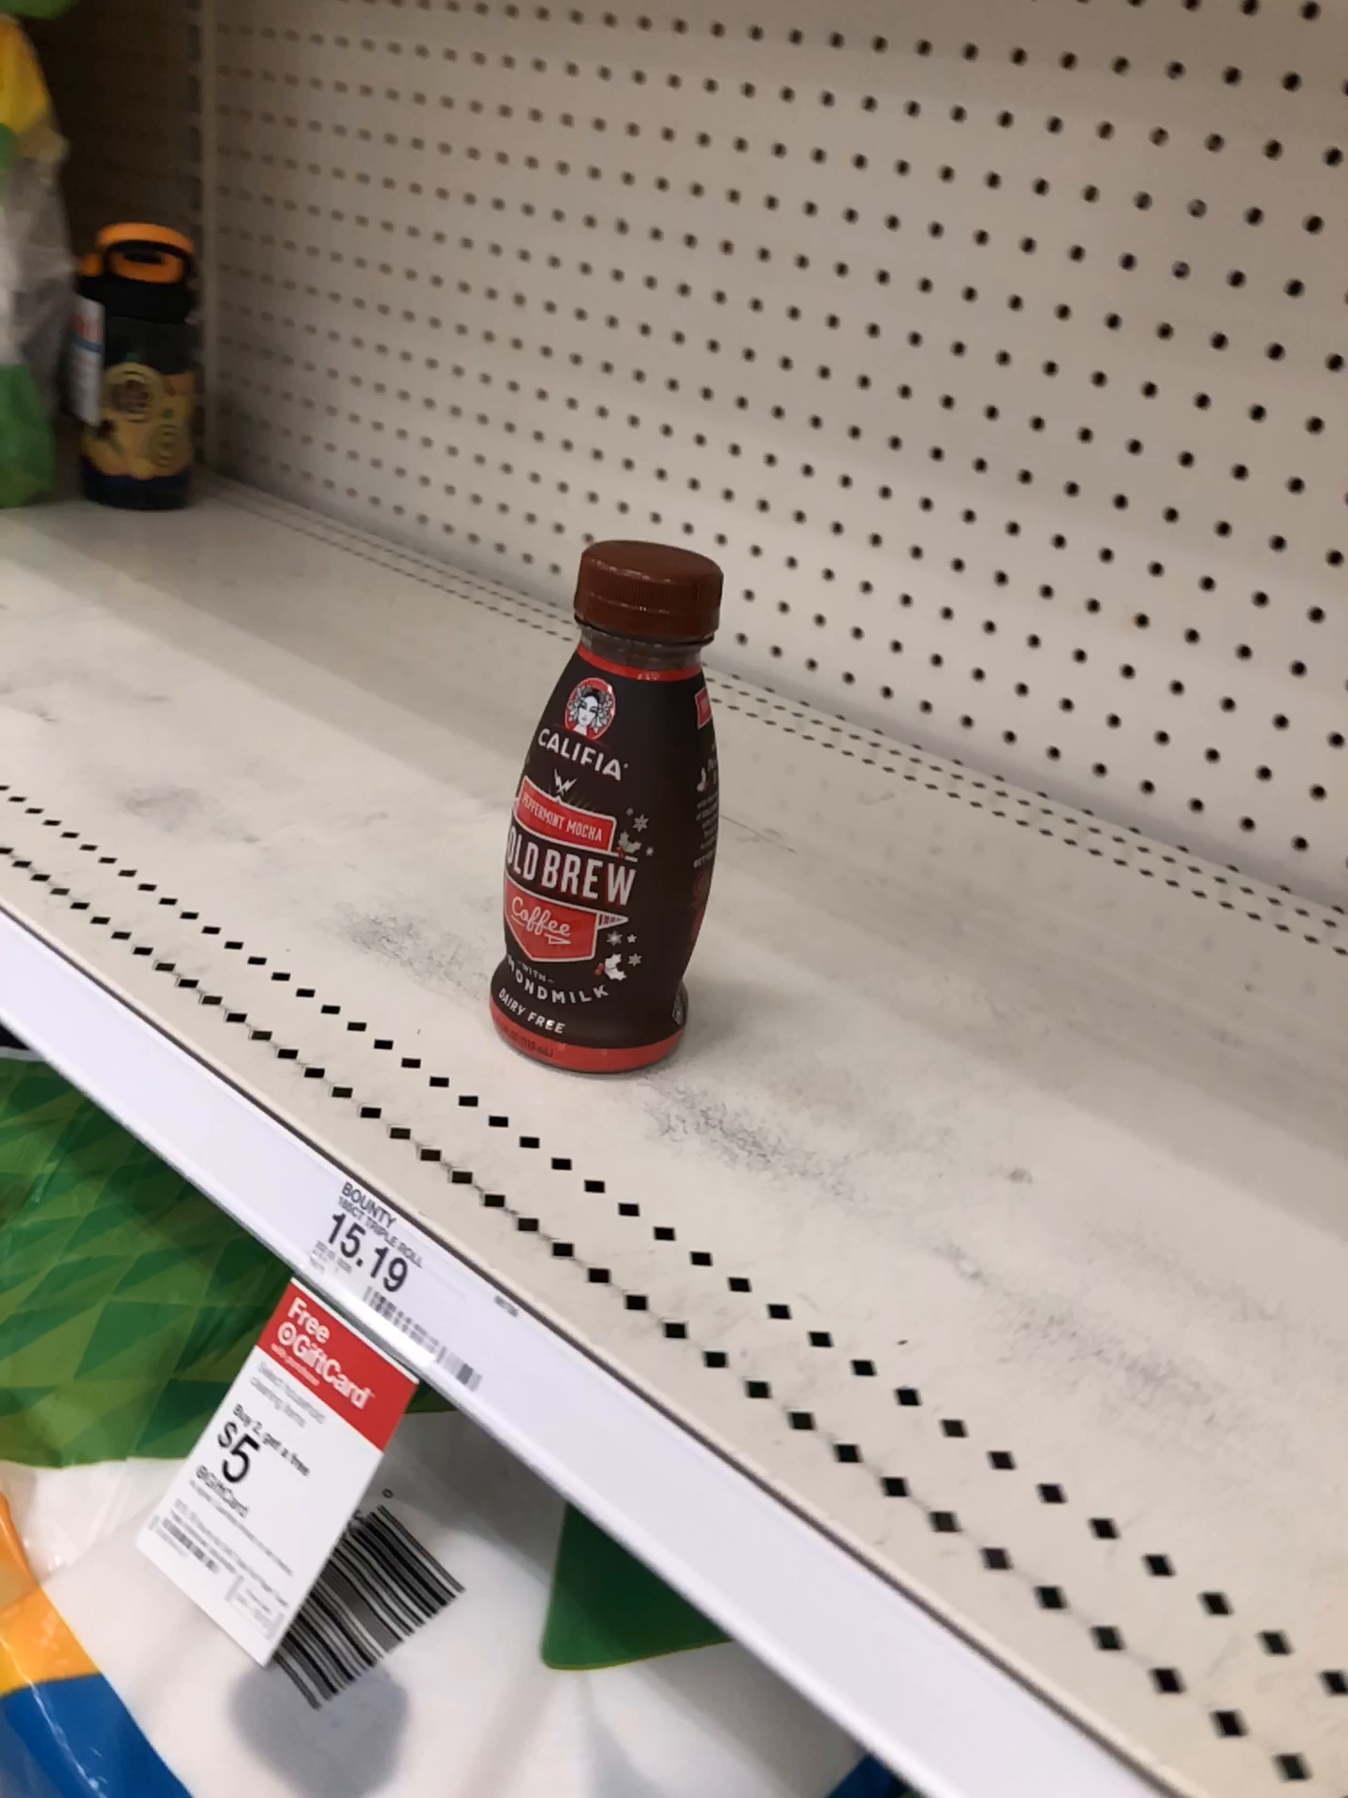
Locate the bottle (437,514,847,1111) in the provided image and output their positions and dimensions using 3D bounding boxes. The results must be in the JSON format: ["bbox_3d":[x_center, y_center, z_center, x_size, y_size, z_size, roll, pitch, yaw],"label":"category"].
[{"bbox_3d":[-0.013,-0.029,0.444,0.070,0.149,0.080,29,33,36],"label":"bottle"}]
